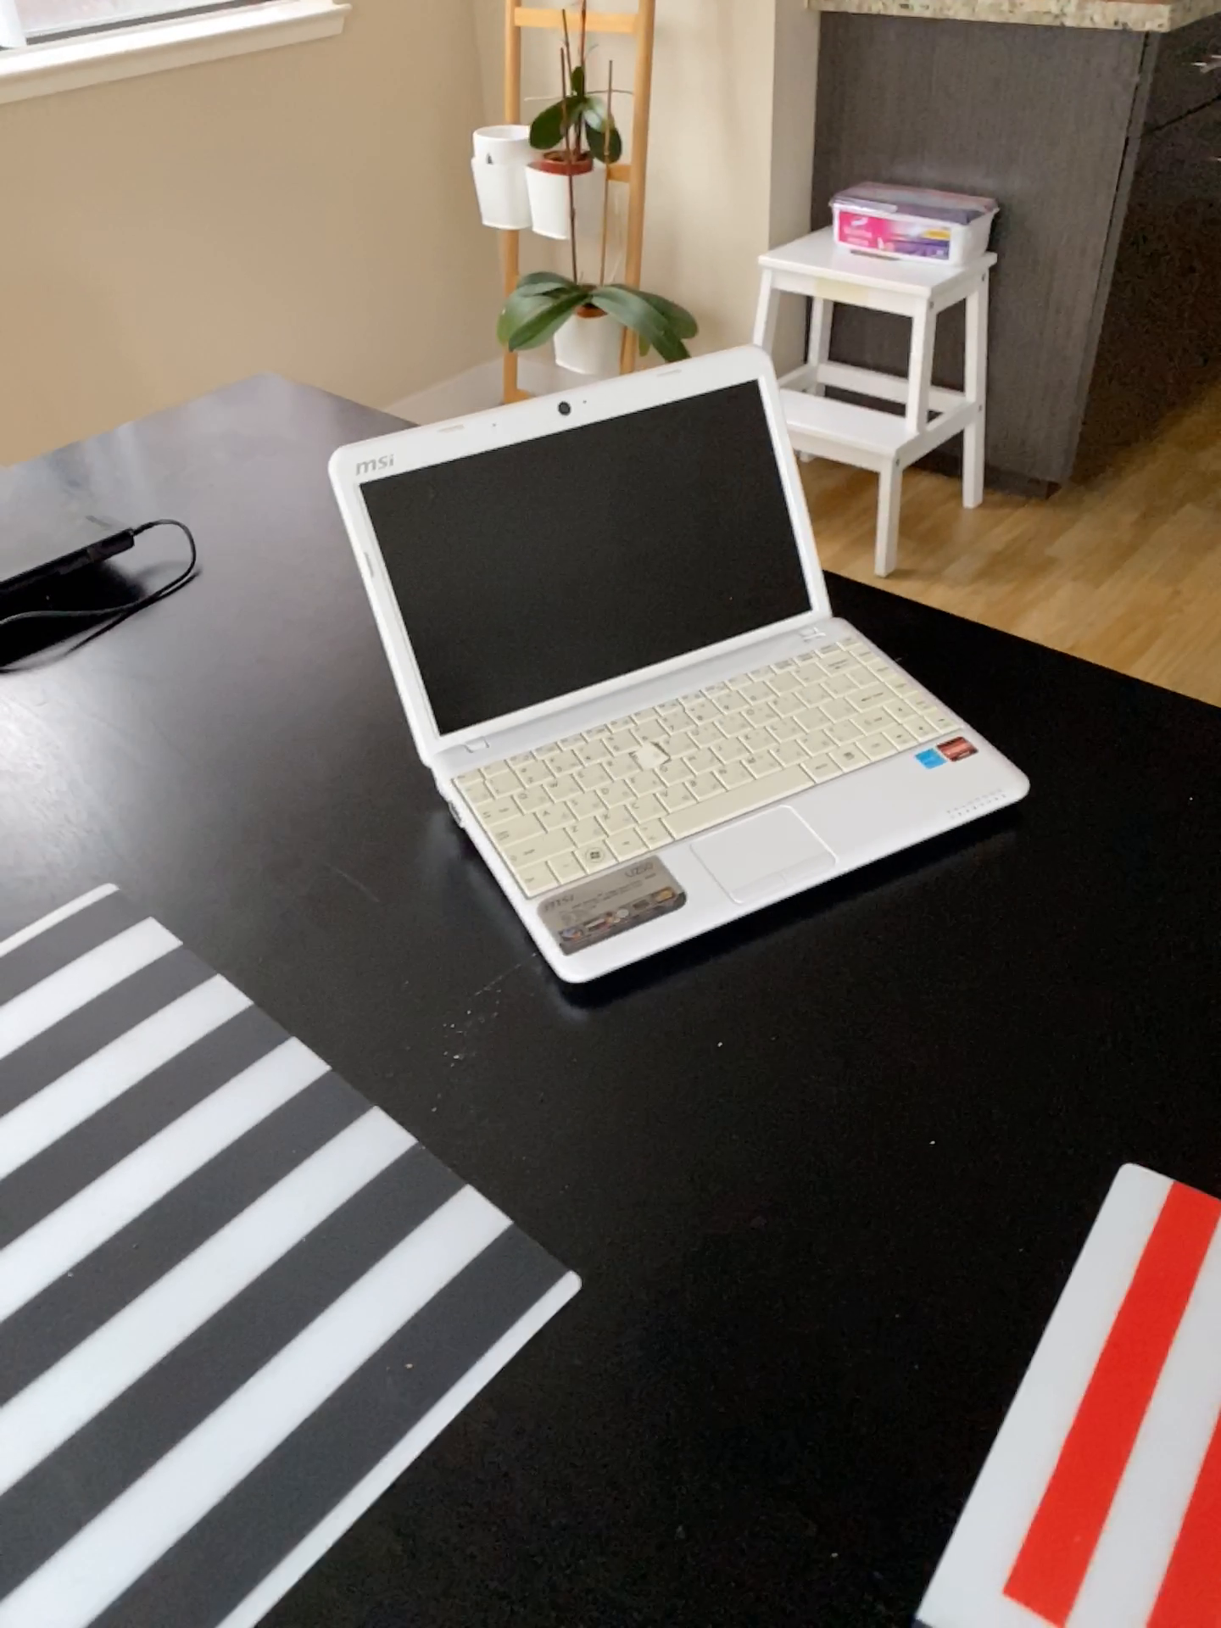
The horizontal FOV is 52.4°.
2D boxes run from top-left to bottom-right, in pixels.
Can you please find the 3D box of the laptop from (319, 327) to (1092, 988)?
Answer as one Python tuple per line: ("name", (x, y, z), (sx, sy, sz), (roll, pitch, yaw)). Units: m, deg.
("laptop", (0.039, -0.115, 0.706), (0.294, 0.153, 0.302), (-21, 46, -19))
